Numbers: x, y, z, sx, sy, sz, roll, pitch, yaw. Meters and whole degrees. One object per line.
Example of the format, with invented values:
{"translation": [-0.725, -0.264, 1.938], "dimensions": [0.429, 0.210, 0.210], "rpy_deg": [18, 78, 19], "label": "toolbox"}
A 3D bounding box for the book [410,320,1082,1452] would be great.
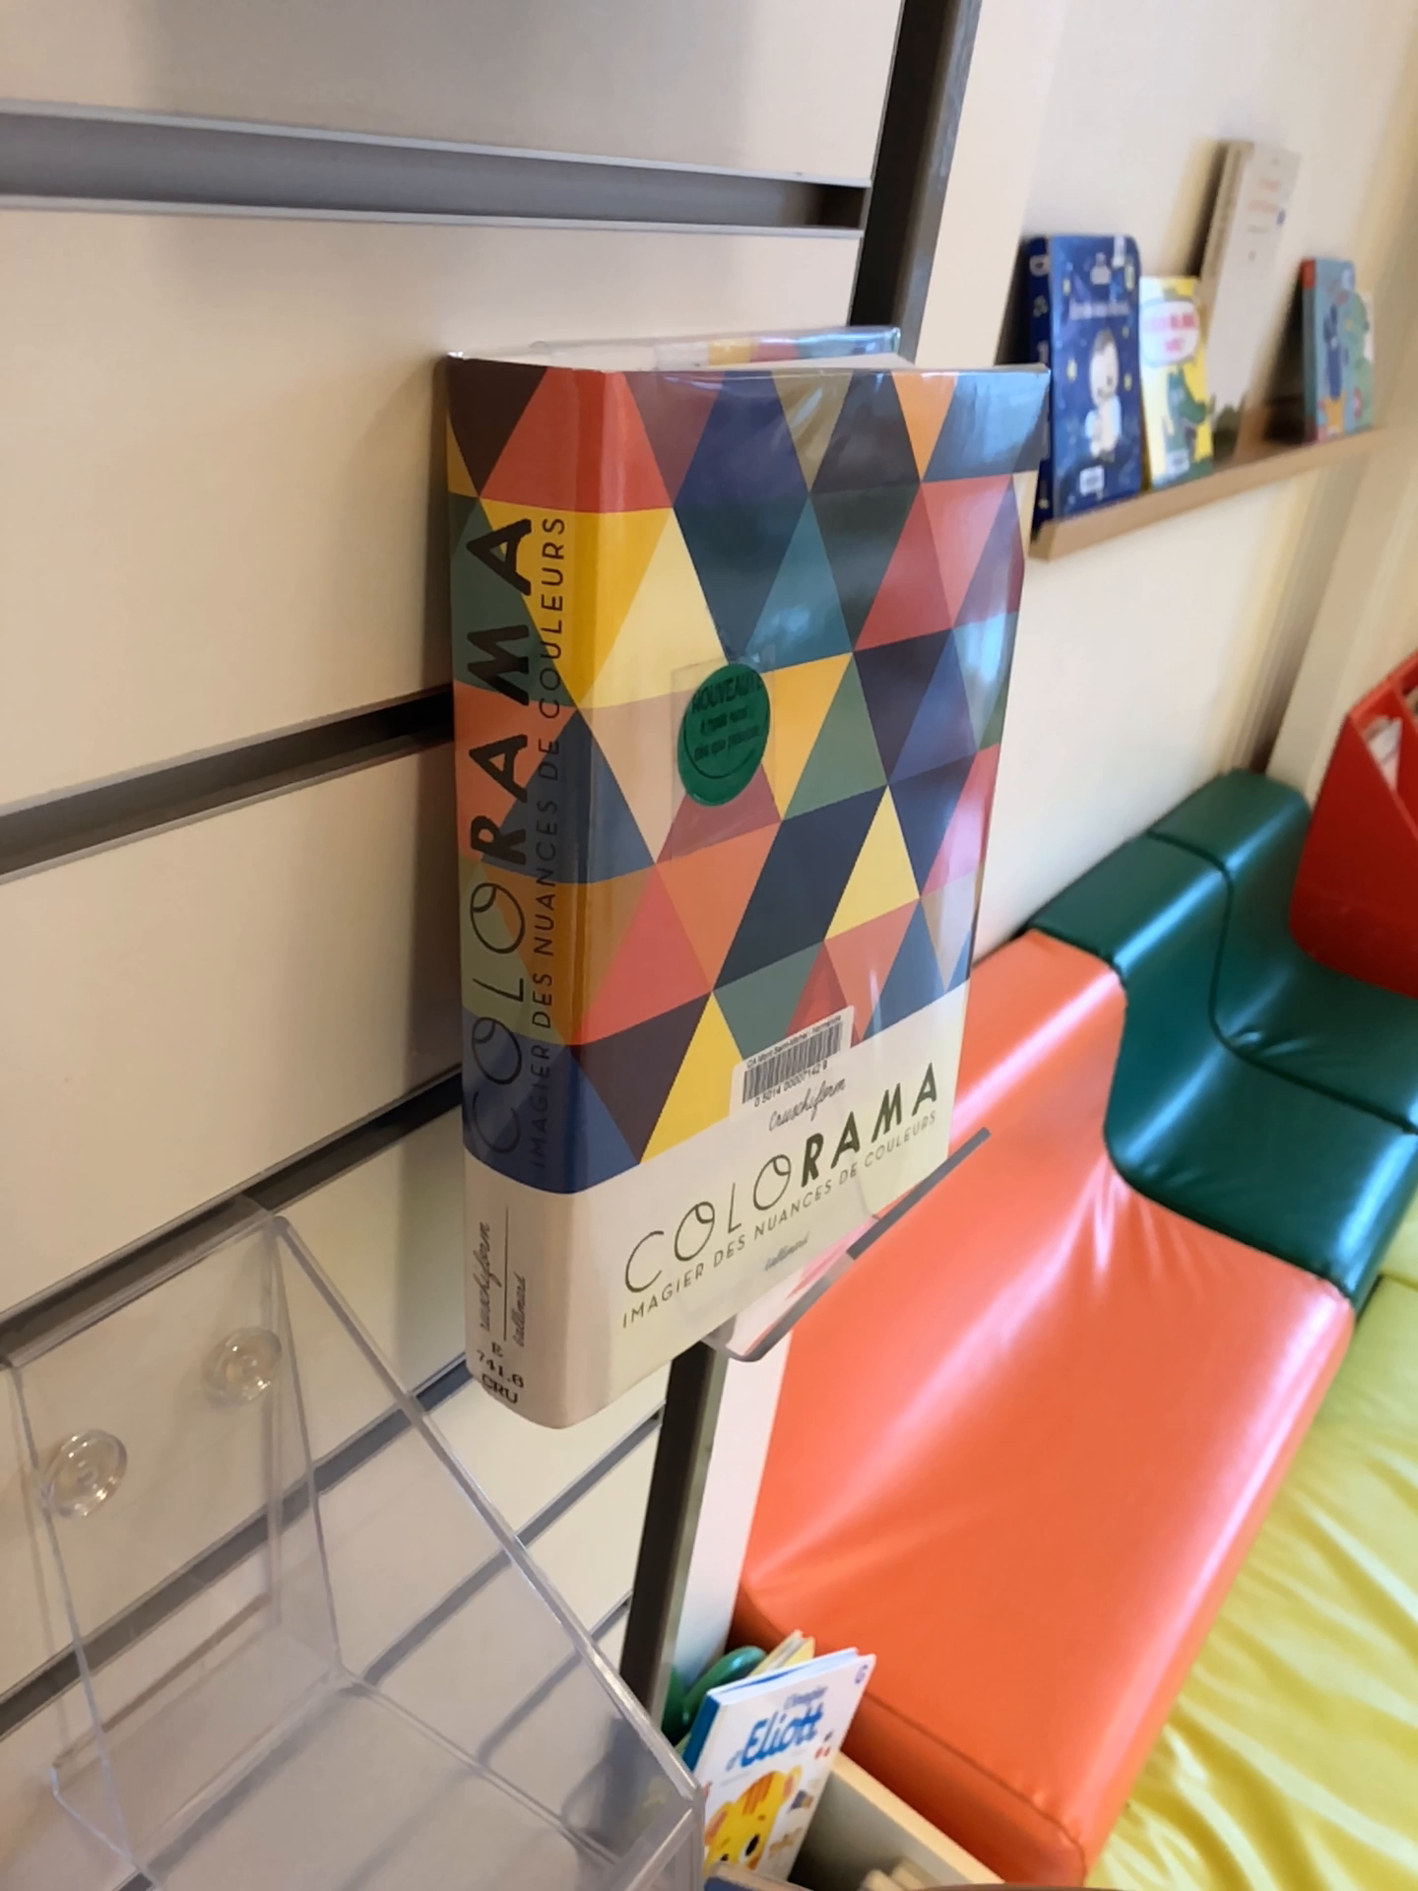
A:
{"translation": [0.013, -0.024, 0.377], "dimensions": [0.046, 0.231, 0.171], "rpy_deg": [20, 29, 35], "label": "book"}
